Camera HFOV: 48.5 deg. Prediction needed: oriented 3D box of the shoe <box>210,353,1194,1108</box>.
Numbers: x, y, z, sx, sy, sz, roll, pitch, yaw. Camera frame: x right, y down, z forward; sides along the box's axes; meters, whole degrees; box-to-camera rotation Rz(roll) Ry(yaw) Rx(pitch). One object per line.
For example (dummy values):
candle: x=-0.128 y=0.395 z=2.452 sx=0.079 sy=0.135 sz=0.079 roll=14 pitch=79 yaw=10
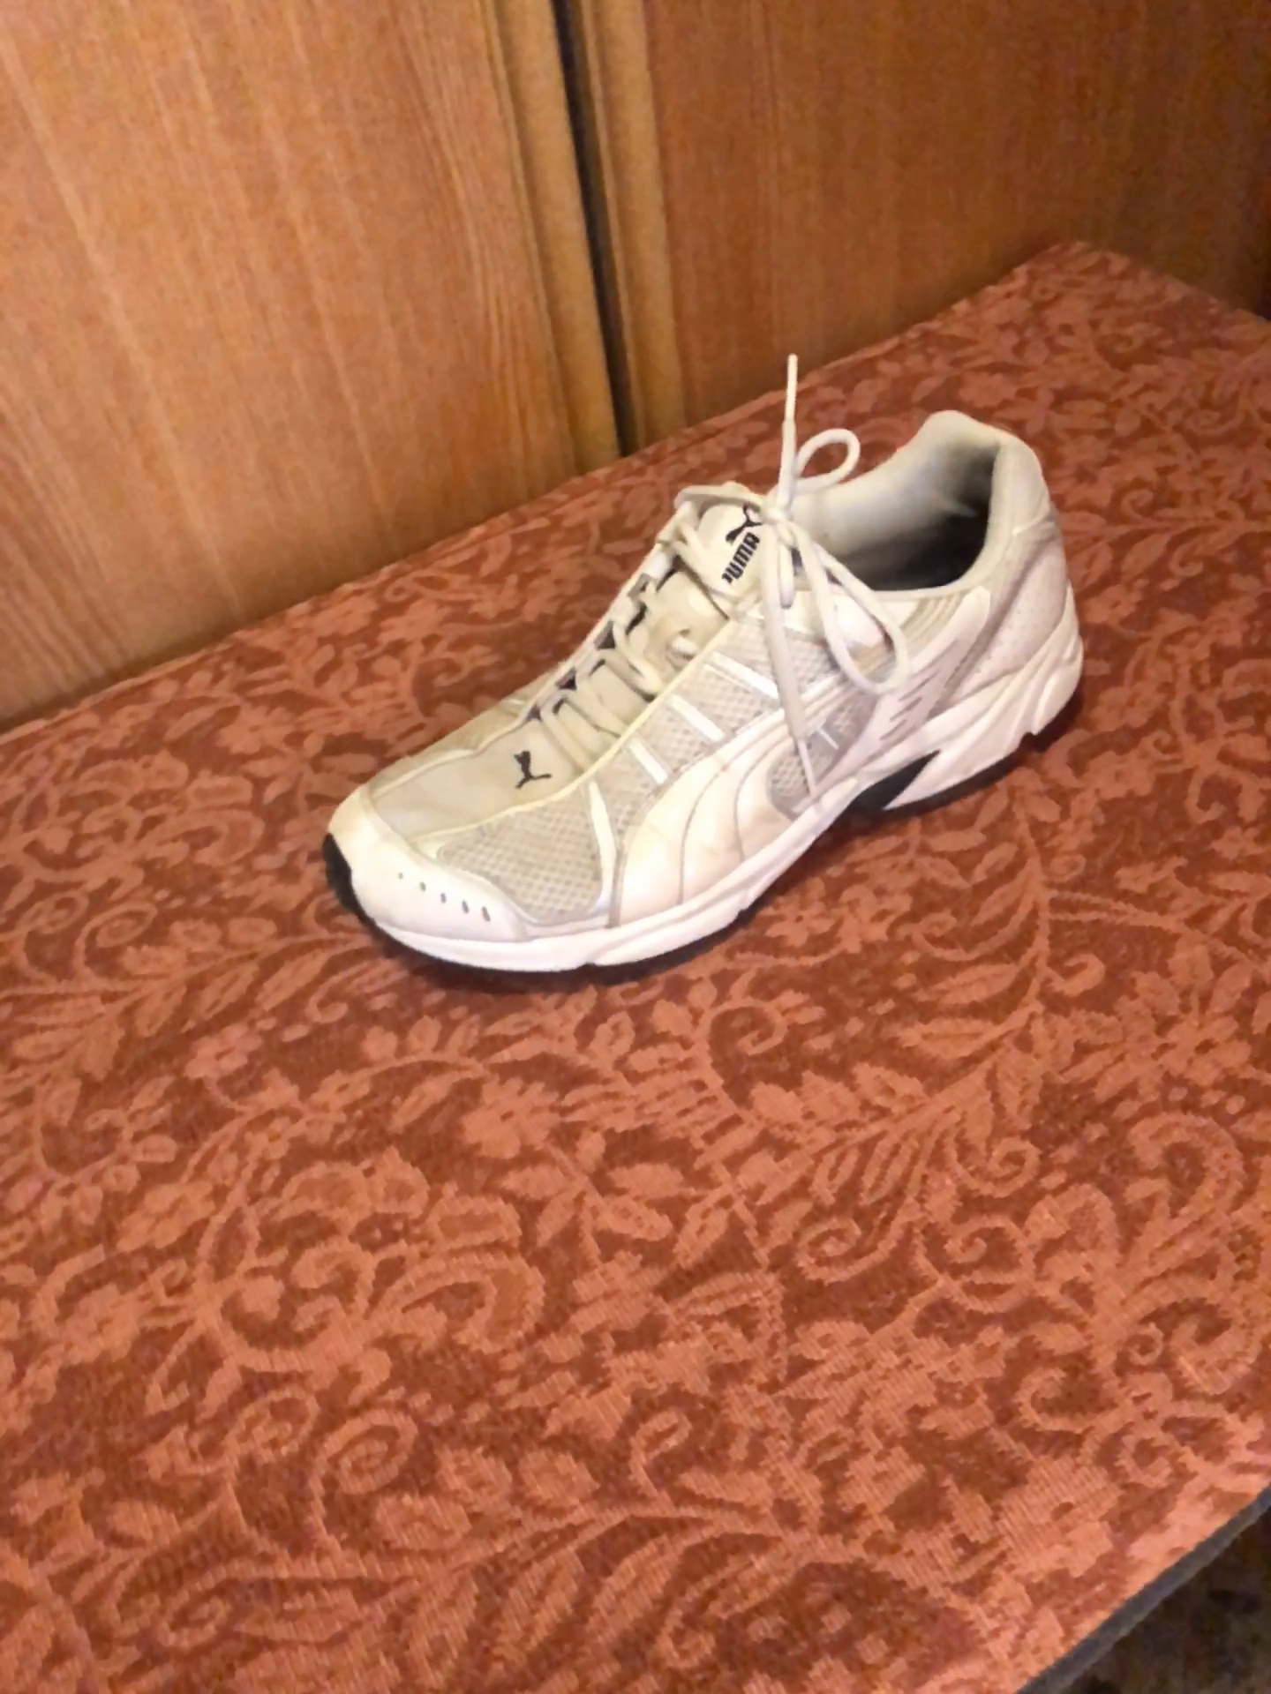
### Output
shoe: x=0.029 y=-0.048 z=0.463 sx=0.290 sy=0.100 sz=0.100 roll=-27 pitch=48 yaw=-15
